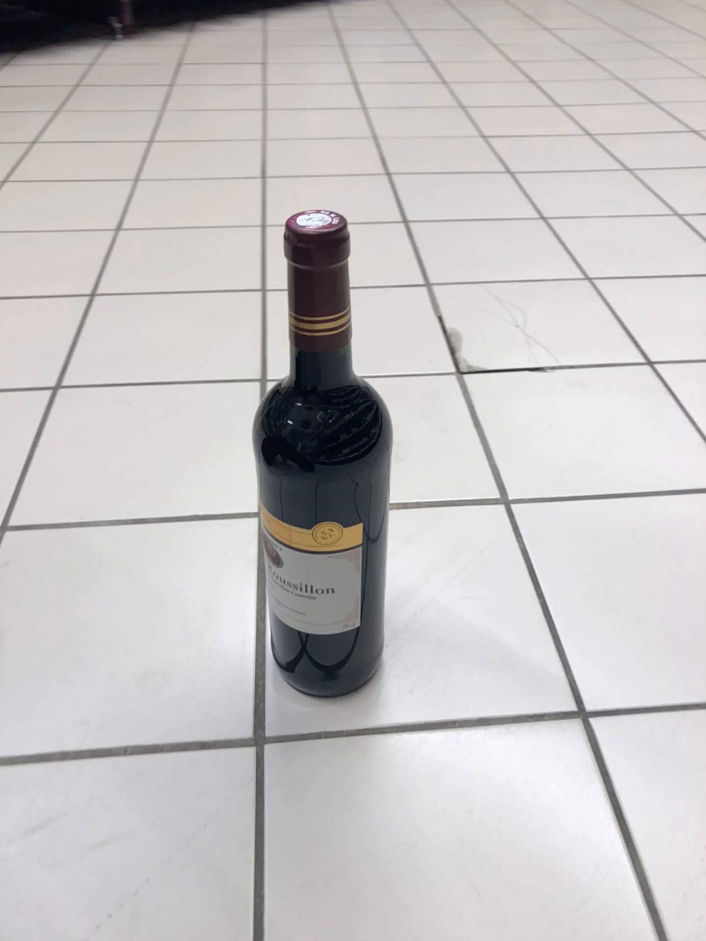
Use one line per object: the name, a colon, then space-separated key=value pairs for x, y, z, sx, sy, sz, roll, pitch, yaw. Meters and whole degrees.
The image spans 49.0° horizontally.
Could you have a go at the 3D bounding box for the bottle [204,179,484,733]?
bottle: x=-0.008 y=0.008 z=0.421 sx=0.090 sy=0.288 sz=0.090 roll=0 pitch=39 yaw=0
